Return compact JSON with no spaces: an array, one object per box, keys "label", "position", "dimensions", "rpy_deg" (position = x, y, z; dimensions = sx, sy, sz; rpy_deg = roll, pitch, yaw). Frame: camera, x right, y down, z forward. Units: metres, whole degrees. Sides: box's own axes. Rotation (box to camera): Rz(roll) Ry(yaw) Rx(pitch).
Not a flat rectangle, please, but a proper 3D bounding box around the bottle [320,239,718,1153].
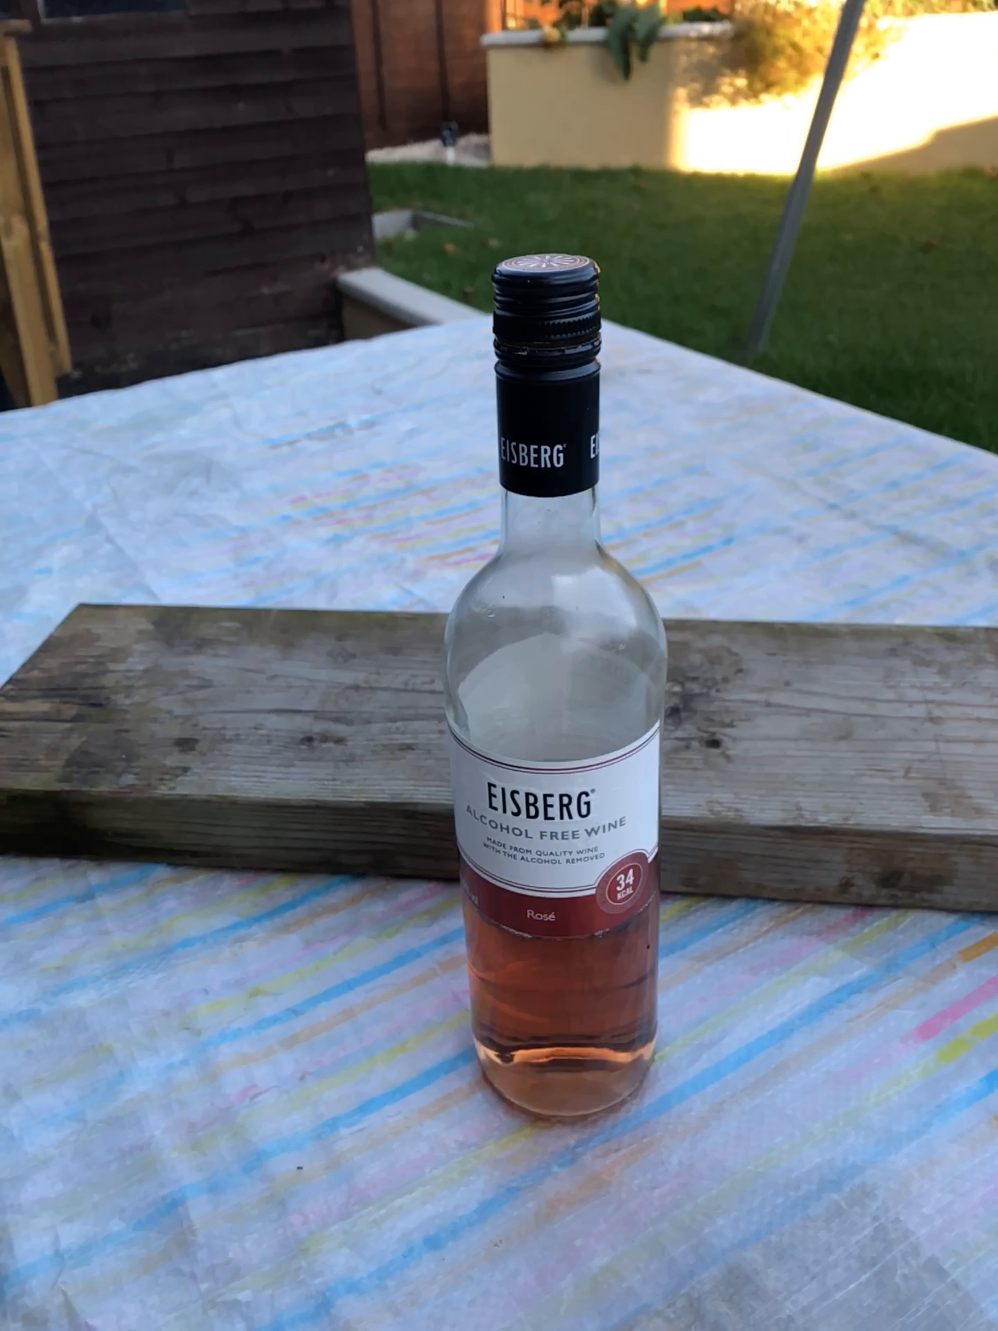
[{"label":"bottle","position":[0.016,0.024,0.354],"dimensions":[0.090,0.288,0.081],"rpy_deg":[2,31,8]}]
